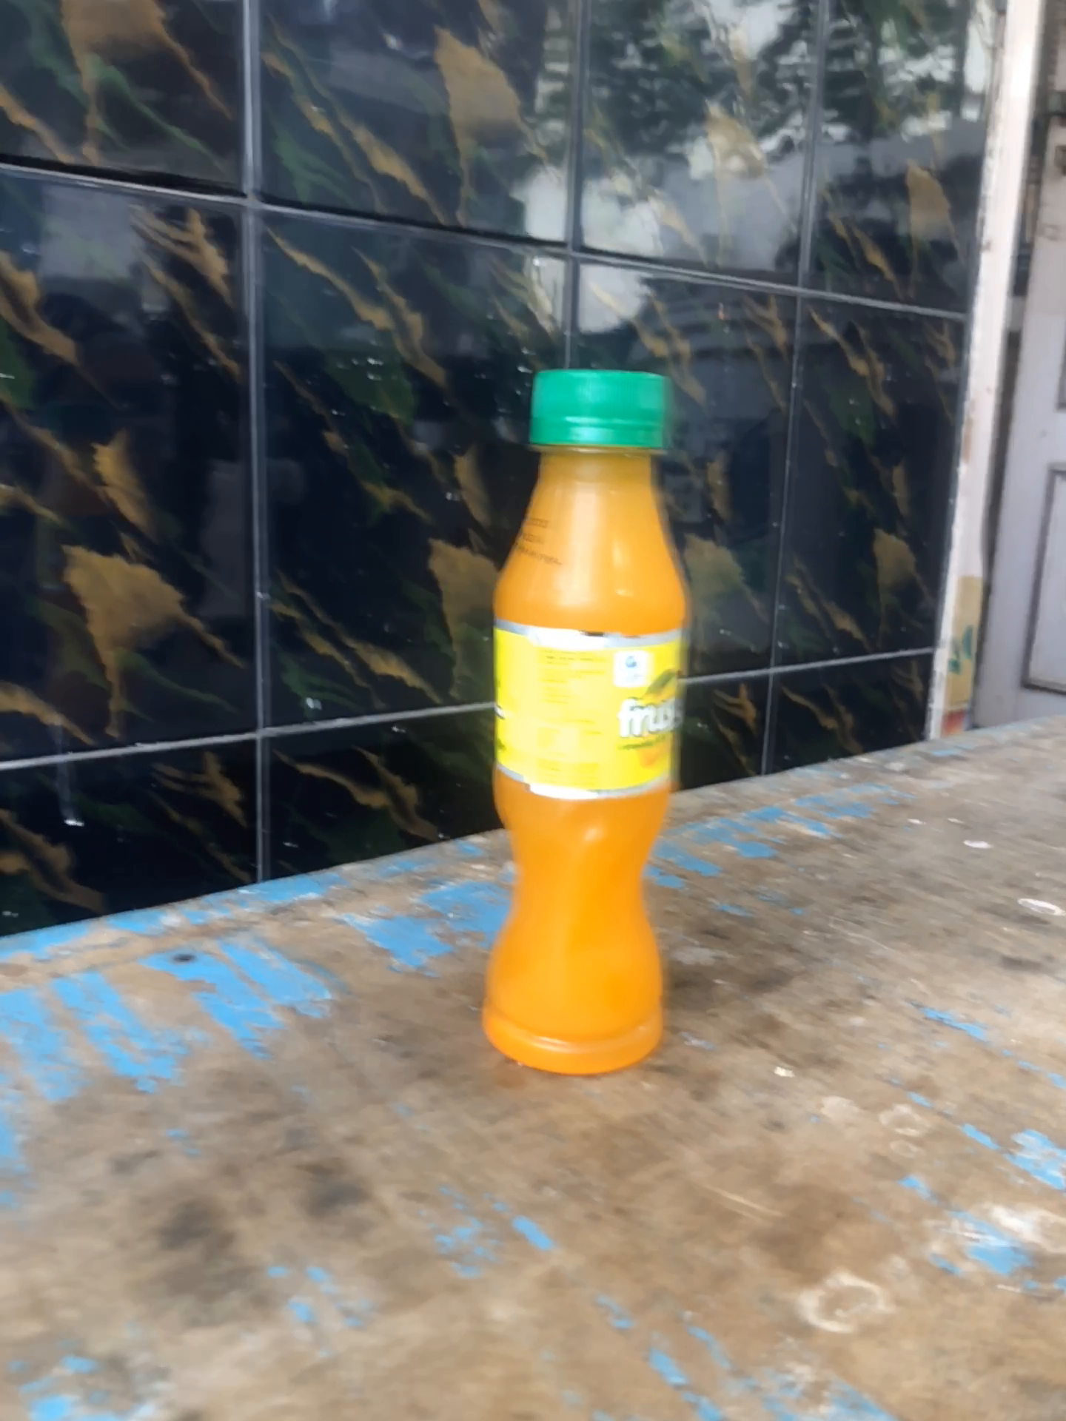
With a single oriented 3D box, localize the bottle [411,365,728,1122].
[{"bbox_3d":[0.009,0.004,0.295,0.050,0.169,0.060,9,14,28],"label":"bottle"}]
